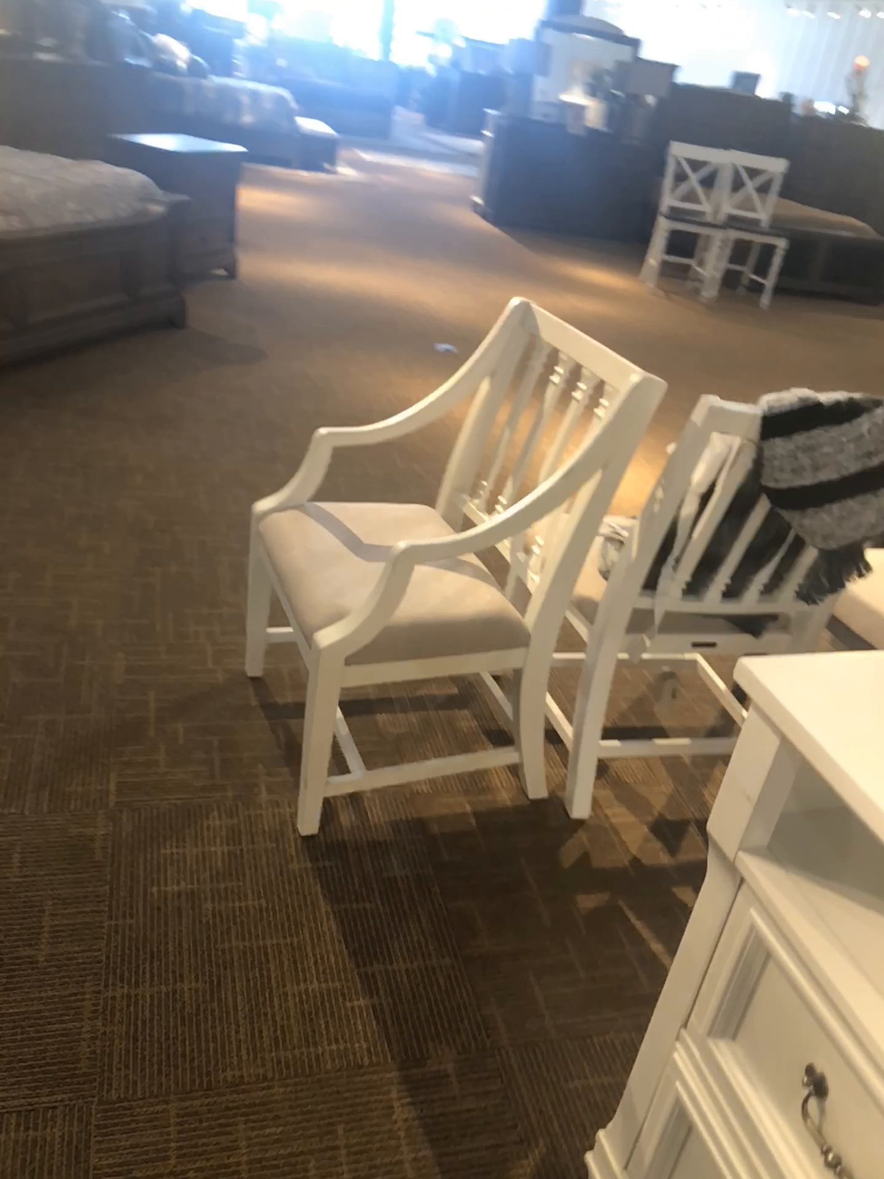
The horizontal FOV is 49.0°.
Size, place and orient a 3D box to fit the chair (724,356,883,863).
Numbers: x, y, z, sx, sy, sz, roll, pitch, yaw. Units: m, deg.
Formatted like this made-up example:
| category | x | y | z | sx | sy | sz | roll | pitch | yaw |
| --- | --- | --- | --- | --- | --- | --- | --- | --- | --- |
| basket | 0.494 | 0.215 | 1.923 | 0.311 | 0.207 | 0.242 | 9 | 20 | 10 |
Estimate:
| category | x | y | z | sx | sy | sz | roll | pitch | yaw |
| --- | --- | --- | --- | --- | --- | --- | --- | --- | --- |
| chair | 1.182 | 0.042 | 2.123 | 0.680 | 0.885 | 0.583 | 2 | 28 | -15 |

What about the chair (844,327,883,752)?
| category | x | y | z | sx | sy | sz | roll | pitch | yaw |
| --- | --- | --- | --- | --- | --- | --- | --- | --- | --- |
| chair | 1.652 | -0.124 | 2.614 | 0.600 | 0.955 | 0.543 | 4 | 28 | -12 |

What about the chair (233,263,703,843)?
| category | x | y | z | sx | sy | sz | roll | pitch | yaw |
| --- | --- | --- | --- | --- | --- | --- | --- | --- | --- |
| chair | -0.040 | -0.087 | 1.921 | 0.631 | 0.885 | 0.653 | 1 | 29 | -18 |

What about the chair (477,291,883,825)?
| category | x | y | z | sx | sy | sz | roll | pitch | yaw |
| --- | --- | --- | --- | --- | --- | --- | --- | --- | --- |
| chair | 0.497 | -0.074 | 2.047 | 0.560 | 0.885 | 0.643 | 2 | 28 | -15 |
